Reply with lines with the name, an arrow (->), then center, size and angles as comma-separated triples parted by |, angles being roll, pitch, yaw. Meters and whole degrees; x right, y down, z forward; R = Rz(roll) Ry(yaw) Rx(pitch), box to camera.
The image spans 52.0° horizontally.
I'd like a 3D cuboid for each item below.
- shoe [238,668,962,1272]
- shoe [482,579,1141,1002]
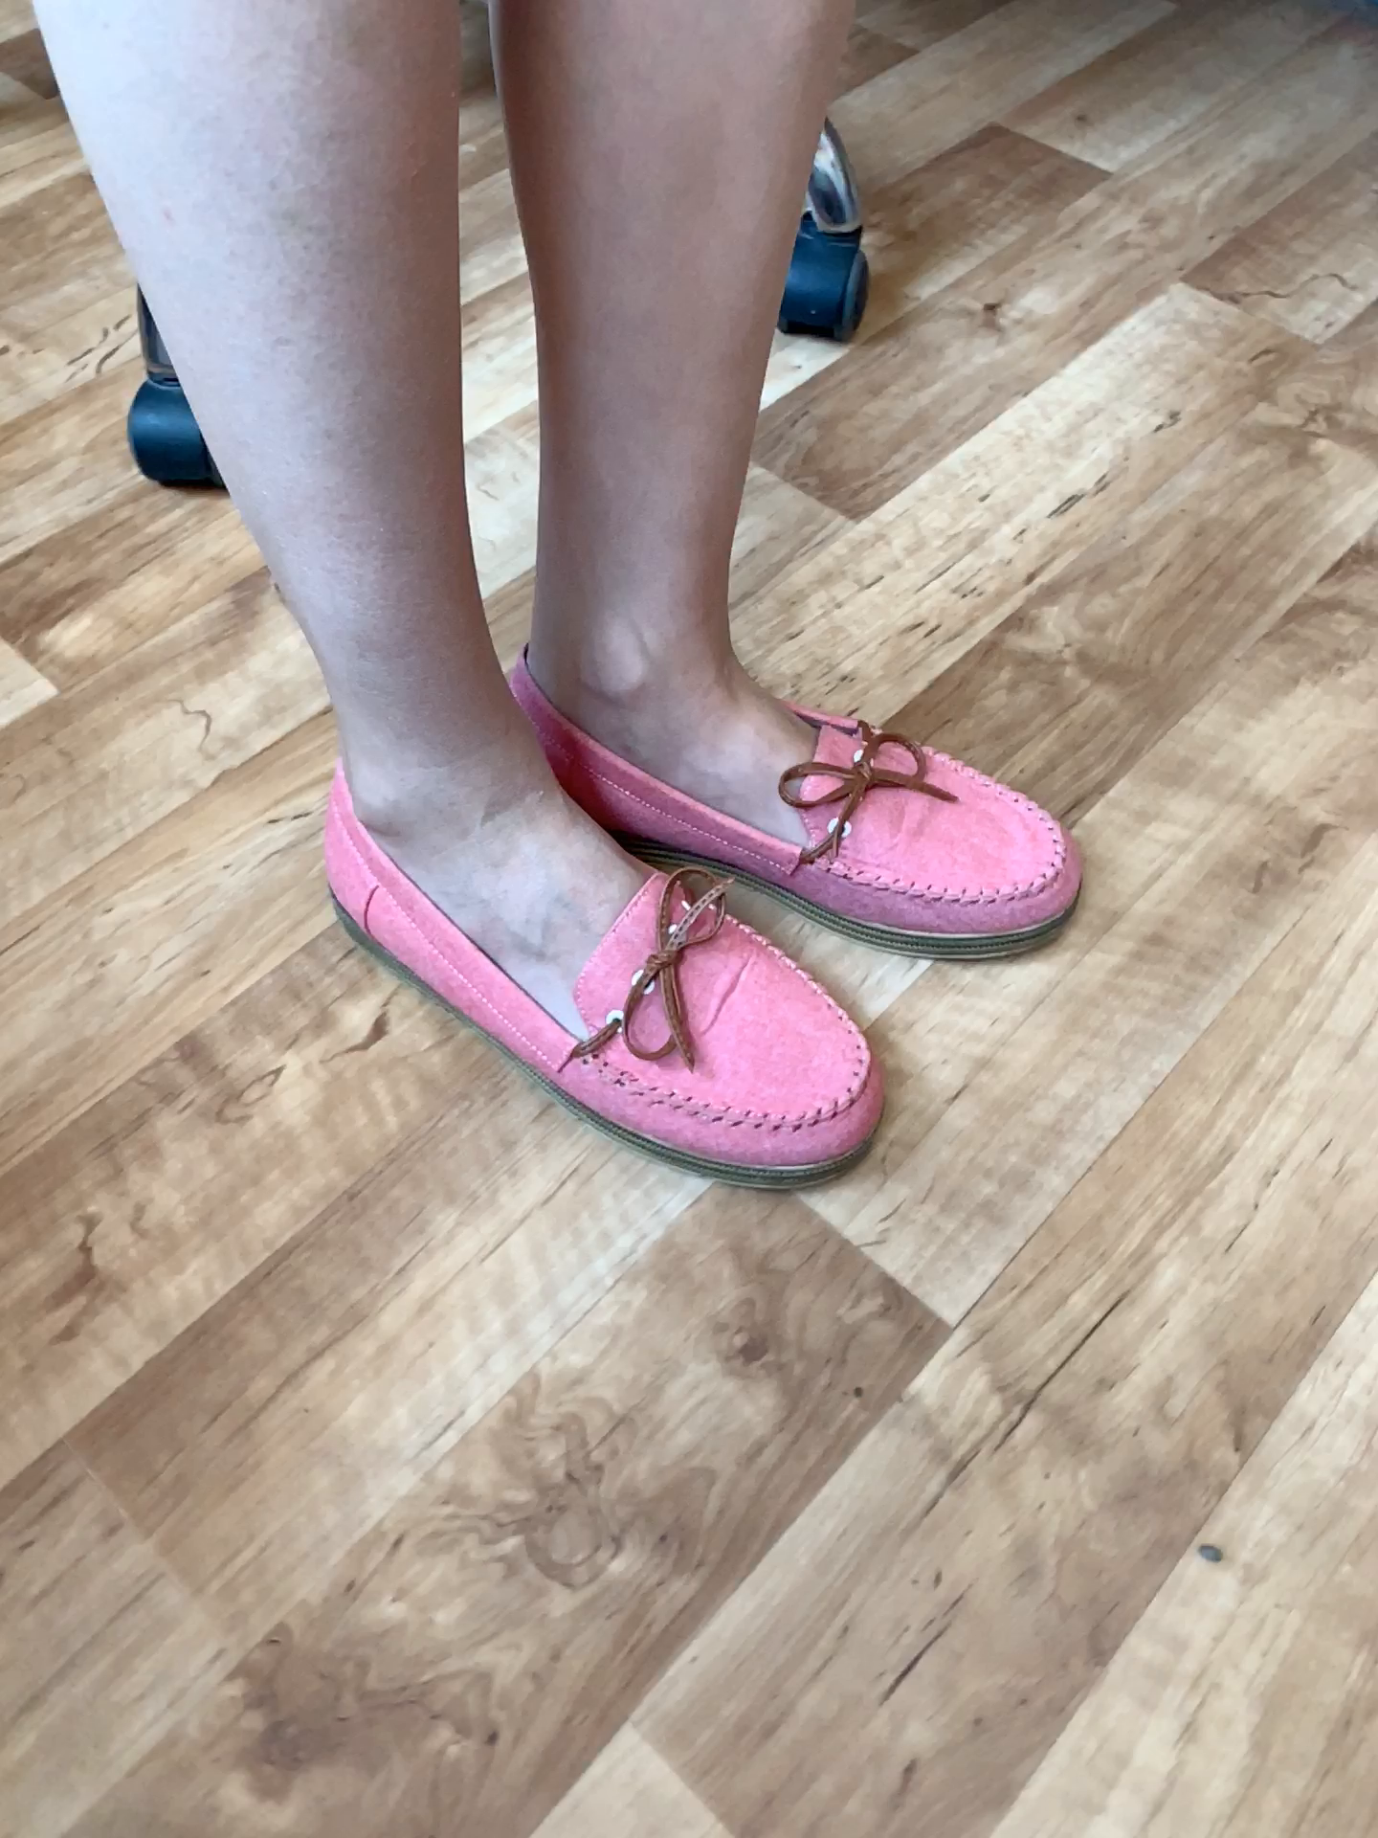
shoe -> -0.038, 0.011, 0.543 | 0.260, 0.060, 0.100 | 32, 61, 20
shoe -> 0.048, -0.058, 0.596 | 0.250, 0.060, 0.090 | 19, 58, 13
